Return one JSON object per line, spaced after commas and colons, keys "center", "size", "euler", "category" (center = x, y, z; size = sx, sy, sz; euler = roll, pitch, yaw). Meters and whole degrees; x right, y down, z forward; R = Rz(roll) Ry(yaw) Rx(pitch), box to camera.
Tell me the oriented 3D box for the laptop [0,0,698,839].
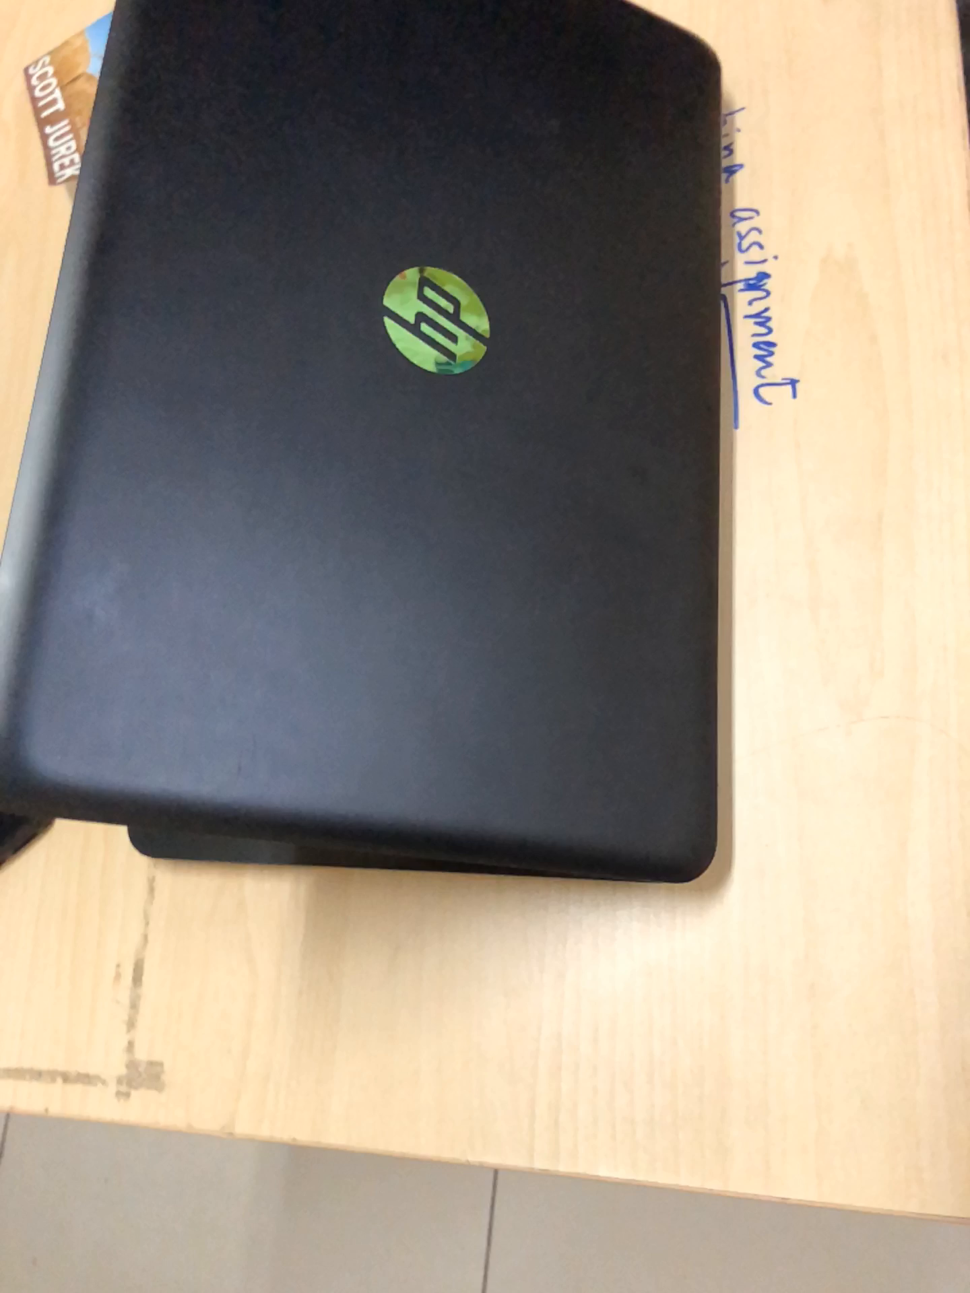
{"center": [-0.047, -0.120, 0.408], "size": [0.230, 0.167, 0.360], "euler": [-1, 72, 17], "category": "laptop"}
